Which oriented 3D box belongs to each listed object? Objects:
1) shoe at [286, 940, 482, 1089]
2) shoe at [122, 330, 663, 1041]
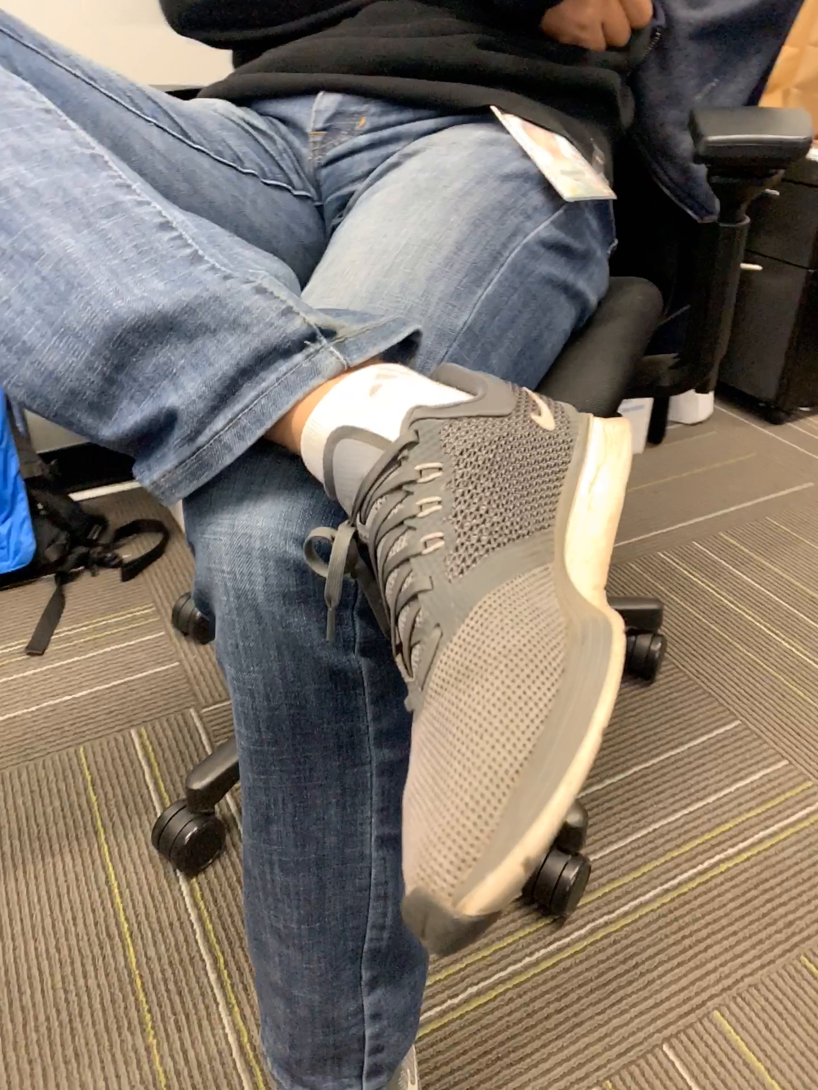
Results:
[{"bbox_3d":[-0.029,0.464,0.629,0.113,0.092,0.289,-3,33,-5],"label":"shoe"},{"bbox_3d":[0.024,0.018,0.368,0.133,0.120,0.296,12,33,12],"label":"shoe"}]
